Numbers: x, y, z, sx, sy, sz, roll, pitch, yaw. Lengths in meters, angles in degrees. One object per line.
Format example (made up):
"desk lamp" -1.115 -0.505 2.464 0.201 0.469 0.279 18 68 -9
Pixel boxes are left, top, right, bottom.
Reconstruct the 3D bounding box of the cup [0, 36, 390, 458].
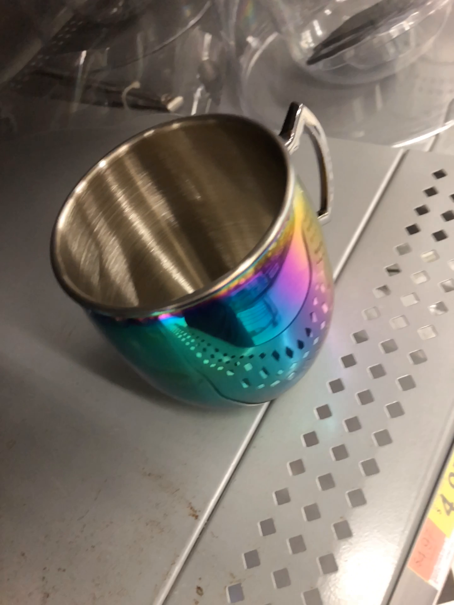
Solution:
"cup" -0.005 -0.028 0.225 0.104 0.097 0.133 21 67 29
